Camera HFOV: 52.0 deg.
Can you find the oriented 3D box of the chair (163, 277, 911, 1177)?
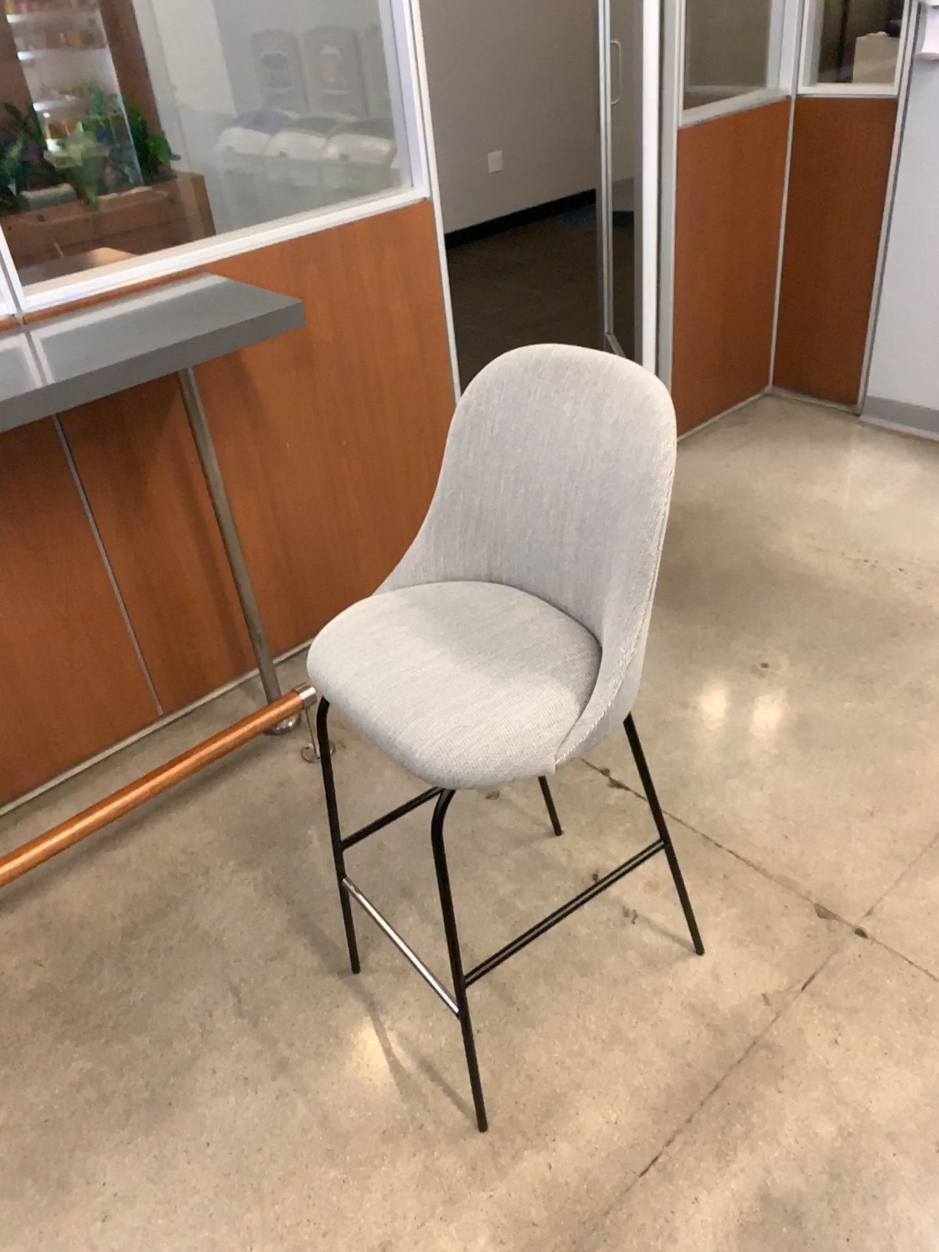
[{"bbox_3d":[0.136,0.127,1.592,0.811,1.094,0.593,-28,39,-28],"label":"chair"}]
